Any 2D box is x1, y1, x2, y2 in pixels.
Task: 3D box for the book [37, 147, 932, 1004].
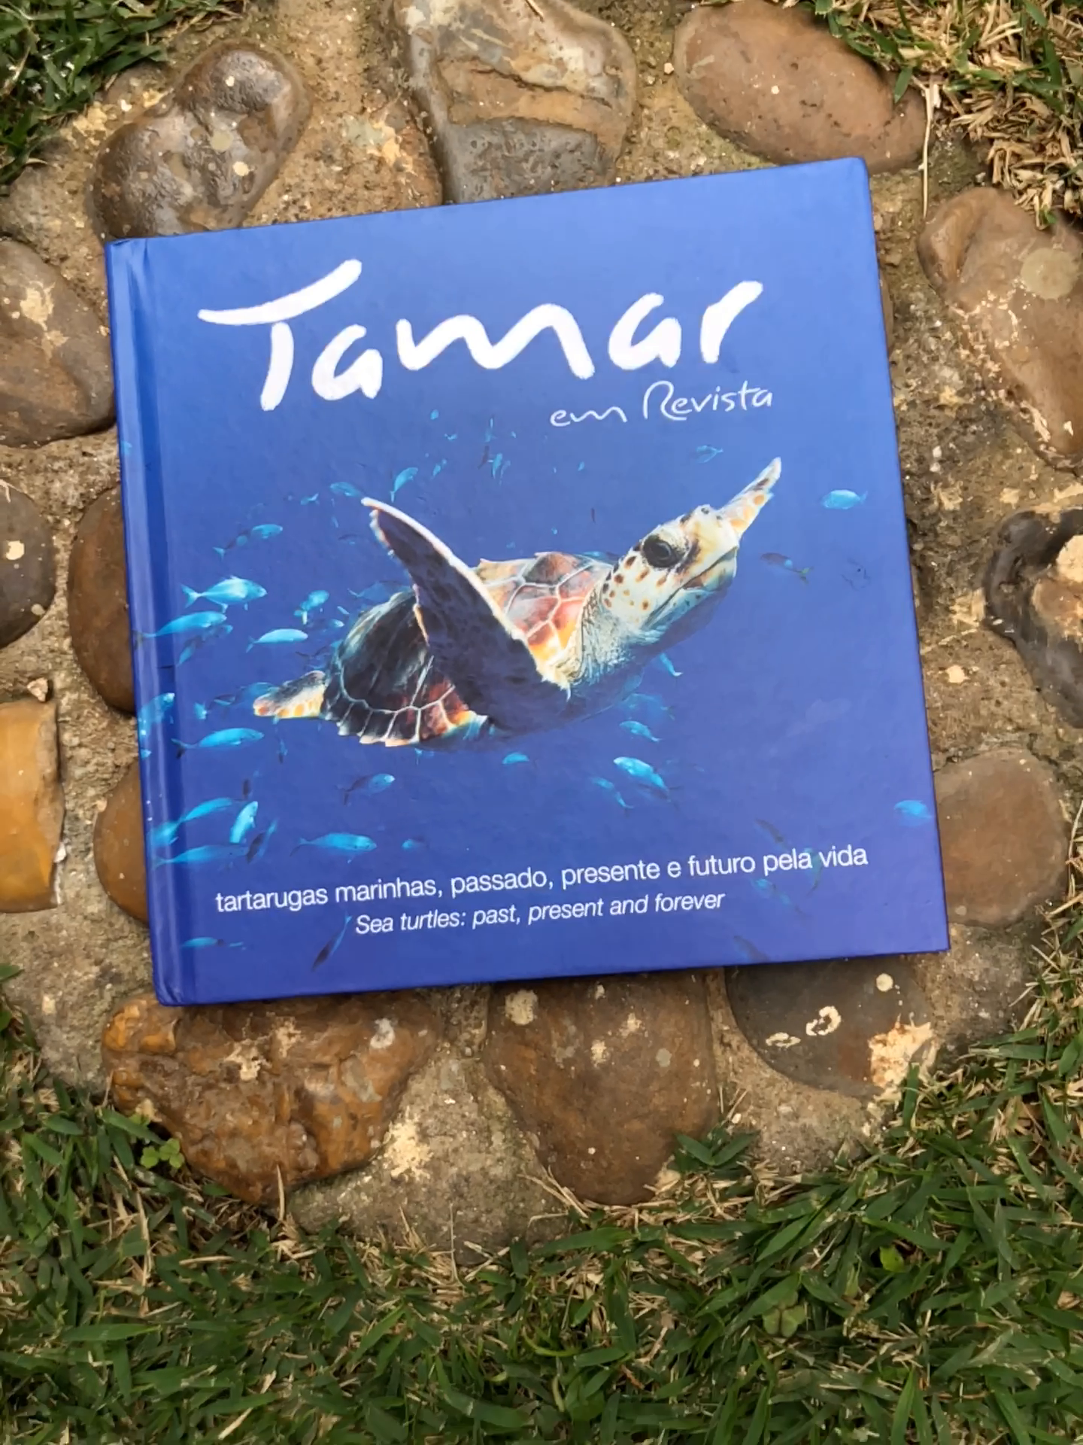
[{"bbox_3d":[-0.016,-0.029,0.262,0.179,0.020,0.166,-4,87,5],"label":"book"}]
